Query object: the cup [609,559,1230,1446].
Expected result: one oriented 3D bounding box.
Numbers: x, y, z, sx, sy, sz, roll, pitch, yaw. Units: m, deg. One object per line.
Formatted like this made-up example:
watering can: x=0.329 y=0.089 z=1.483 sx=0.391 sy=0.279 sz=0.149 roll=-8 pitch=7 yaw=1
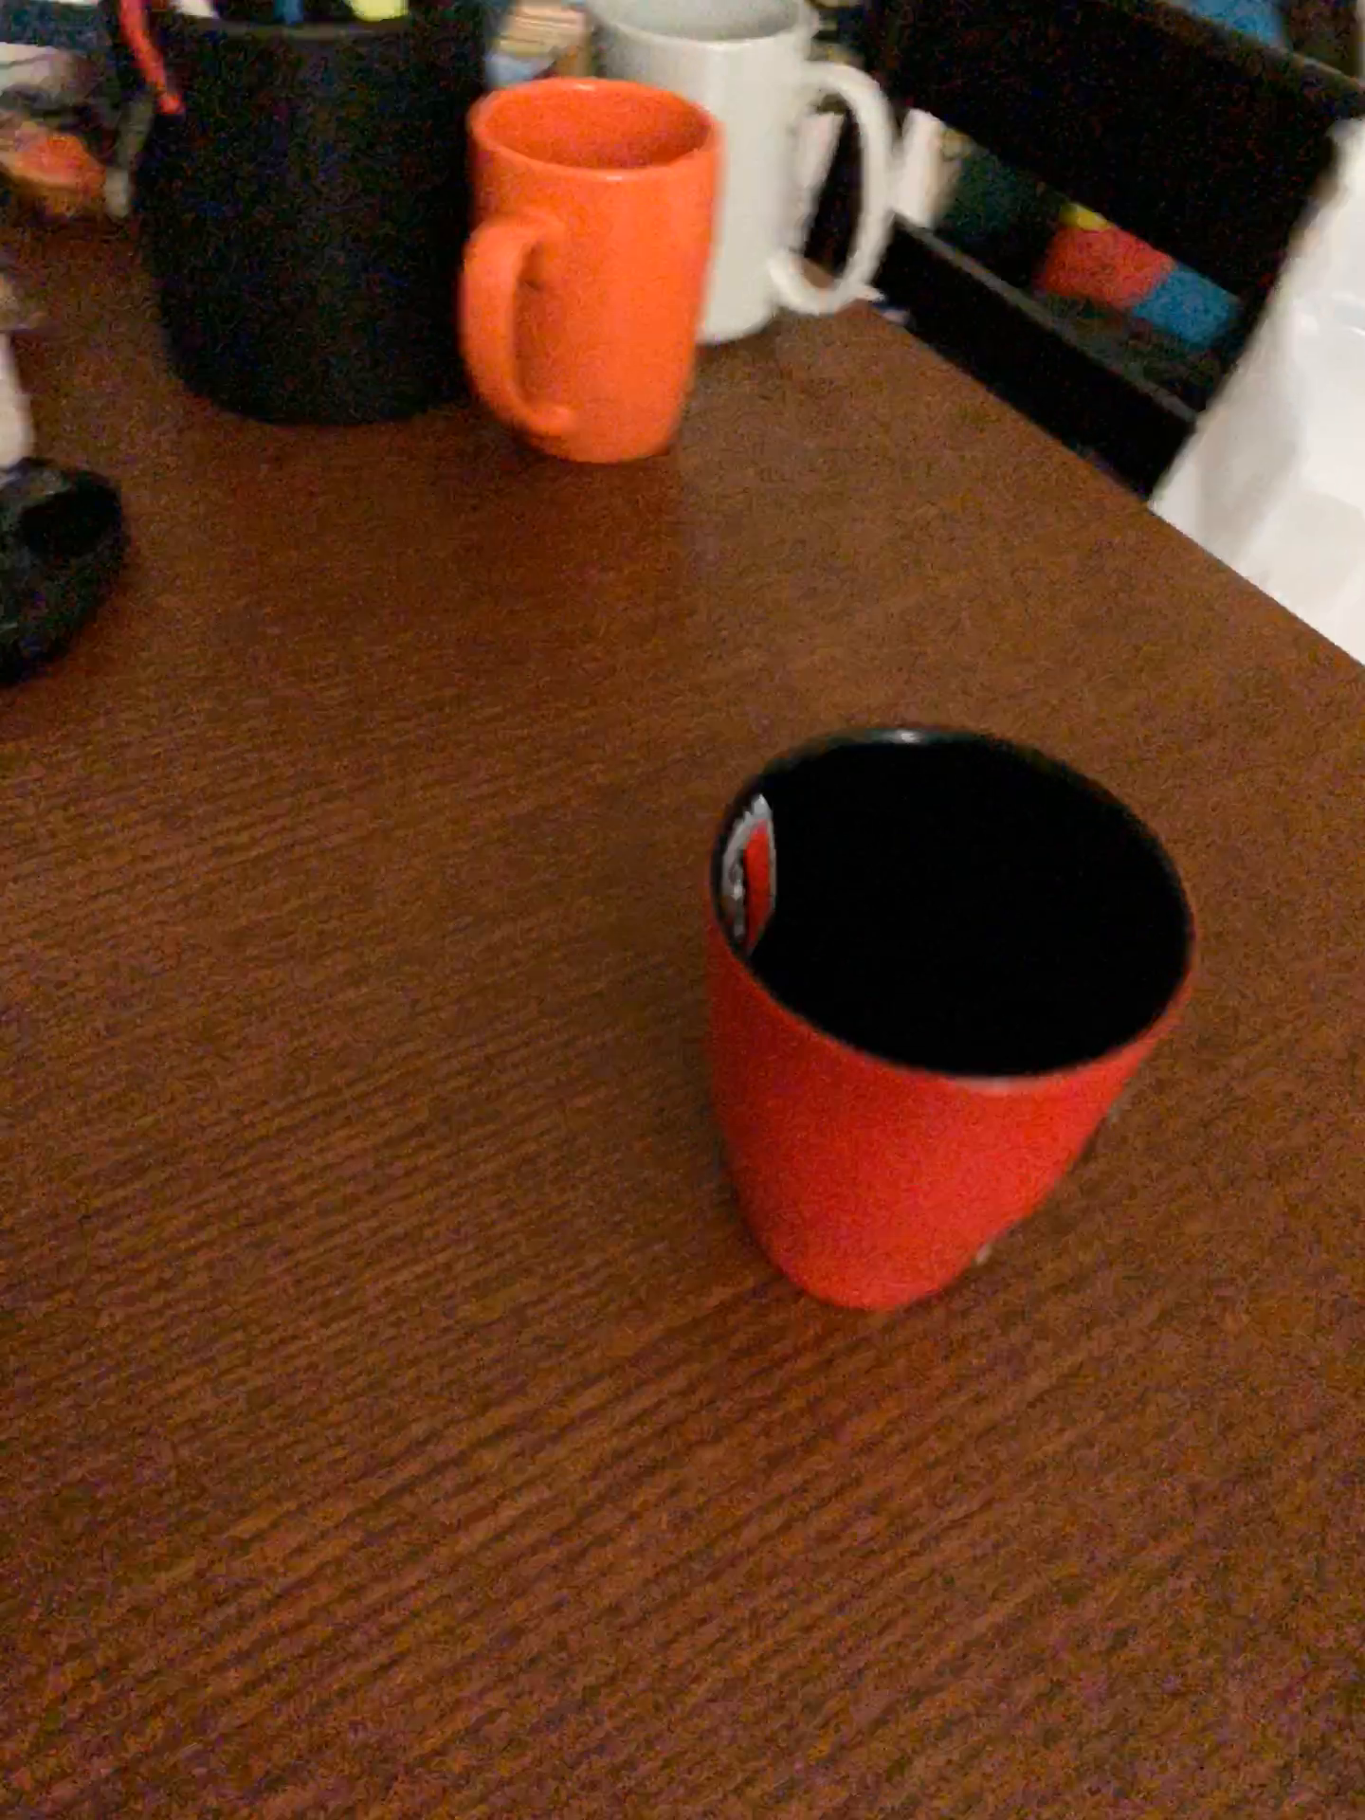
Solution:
cup: x=0.047 y=0.015 z=0.285 sx=0.090 sy=0.099 sz=0.131 roll=13 pitch=48 yaw=7
